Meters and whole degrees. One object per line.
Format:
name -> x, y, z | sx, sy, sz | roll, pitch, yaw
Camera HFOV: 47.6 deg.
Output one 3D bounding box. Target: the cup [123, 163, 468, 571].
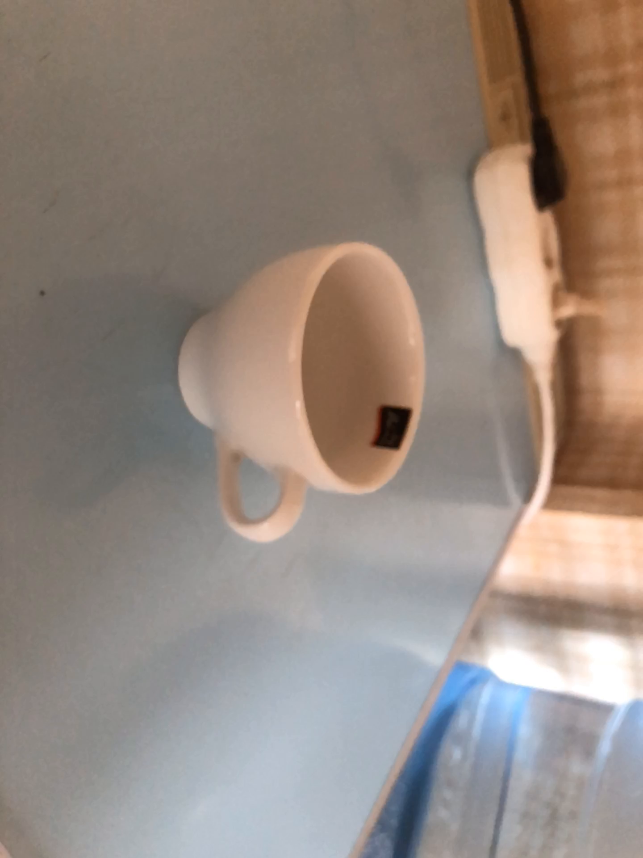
cup -> -0.002, -0.015, 0.260 | 0.089, 0.065, 0.111 | 31, 66, -53
